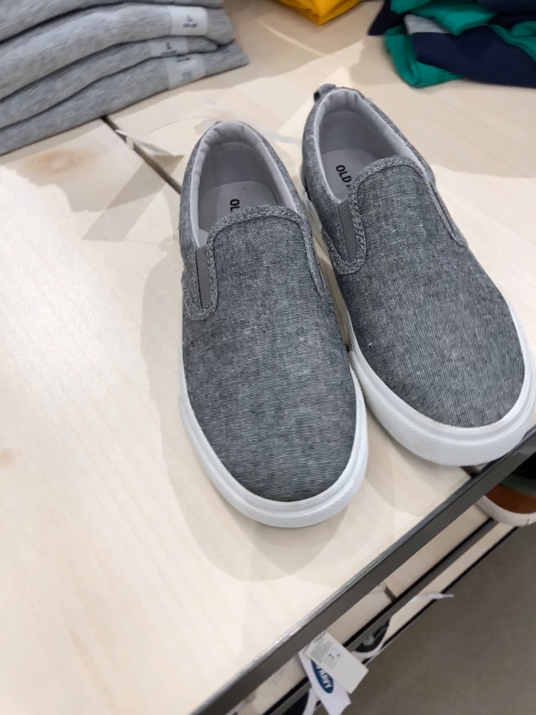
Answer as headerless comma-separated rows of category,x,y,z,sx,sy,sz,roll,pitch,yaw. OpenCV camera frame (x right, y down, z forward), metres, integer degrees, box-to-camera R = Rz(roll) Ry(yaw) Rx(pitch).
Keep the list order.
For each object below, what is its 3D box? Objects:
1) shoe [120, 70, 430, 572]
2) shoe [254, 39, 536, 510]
shoe,-0.009,-0.026,0.285,0.090,0.100,0.211,-11,55,-2
shoe,0.069,-0.051,0.302,0.090,0.100,0.211,-16,56,-6
